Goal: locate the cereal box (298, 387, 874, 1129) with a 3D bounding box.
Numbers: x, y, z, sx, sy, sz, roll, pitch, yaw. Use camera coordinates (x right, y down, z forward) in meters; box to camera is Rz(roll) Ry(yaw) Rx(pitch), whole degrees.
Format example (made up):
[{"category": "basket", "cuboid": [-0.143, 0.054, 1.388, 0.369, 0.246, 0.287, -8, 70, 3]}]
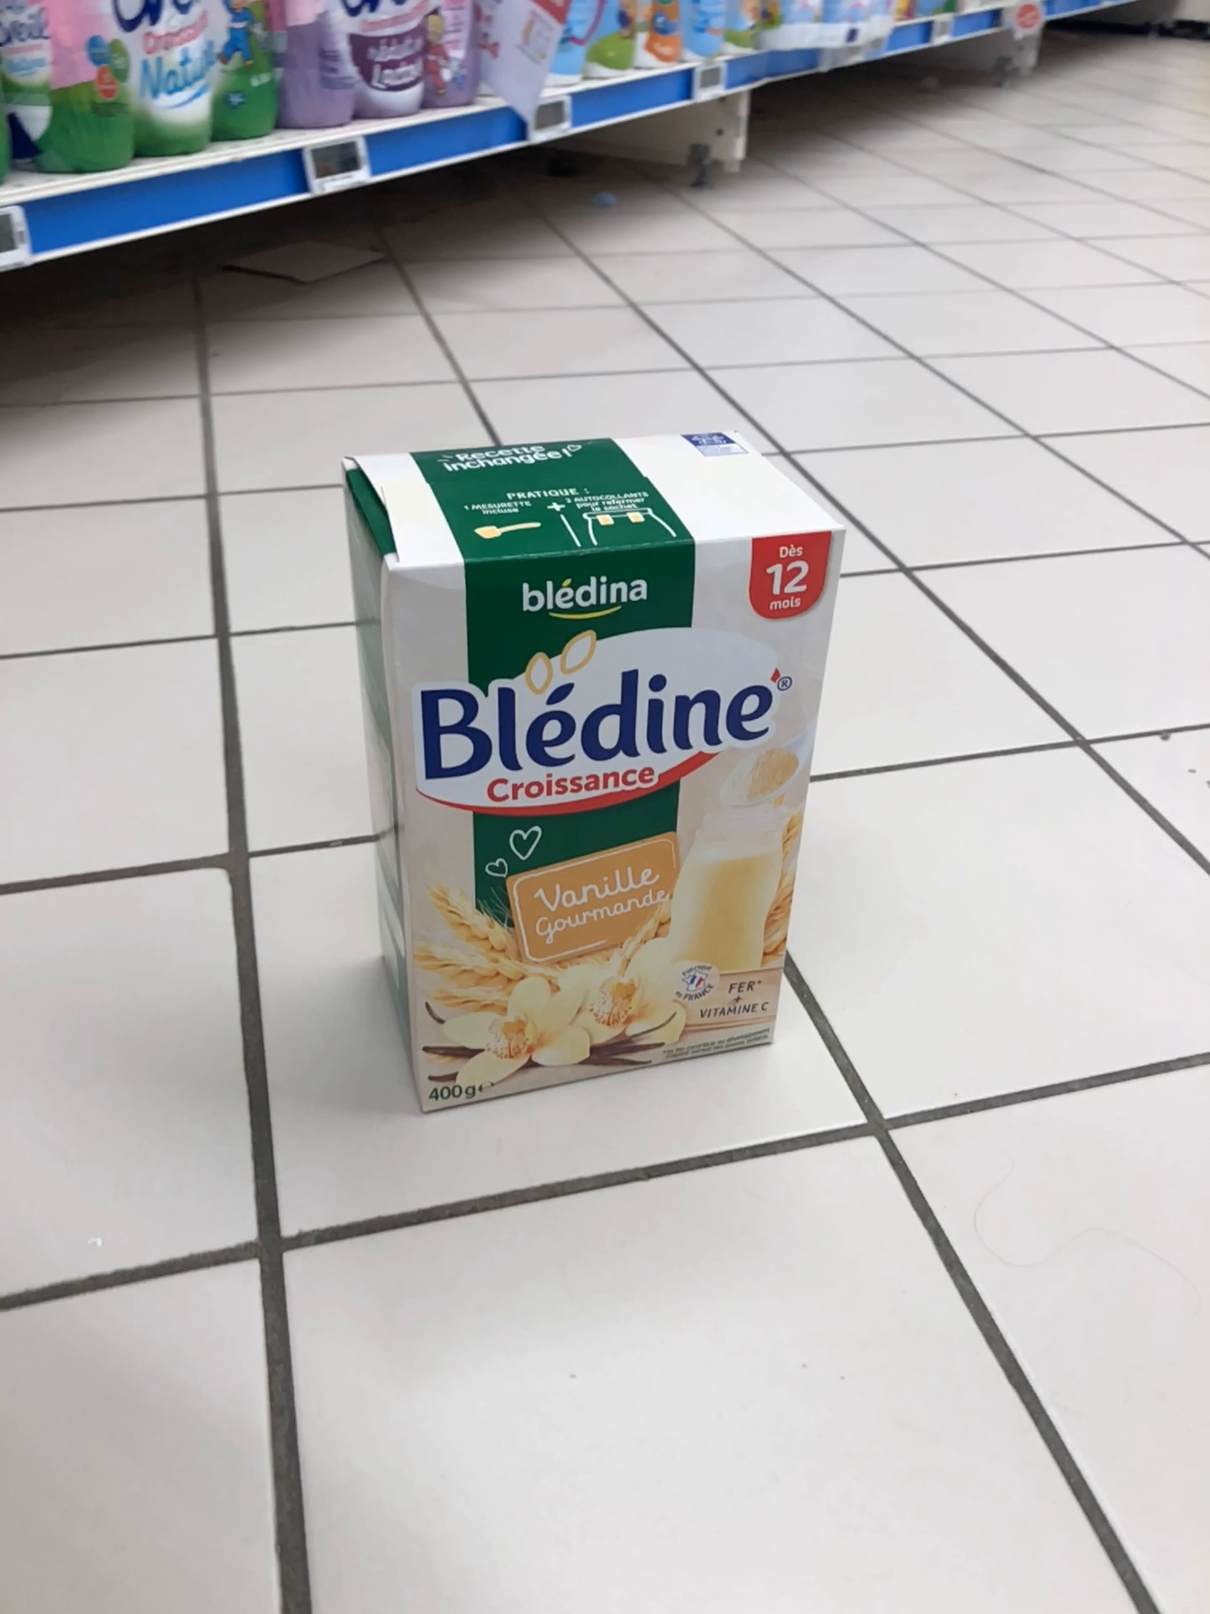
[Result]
[{"category": "cereal box", "cuboid": [-0.013, -0.017, 0.428, 0.140, 0.199, 0.100, -8, 34, -15]}]
